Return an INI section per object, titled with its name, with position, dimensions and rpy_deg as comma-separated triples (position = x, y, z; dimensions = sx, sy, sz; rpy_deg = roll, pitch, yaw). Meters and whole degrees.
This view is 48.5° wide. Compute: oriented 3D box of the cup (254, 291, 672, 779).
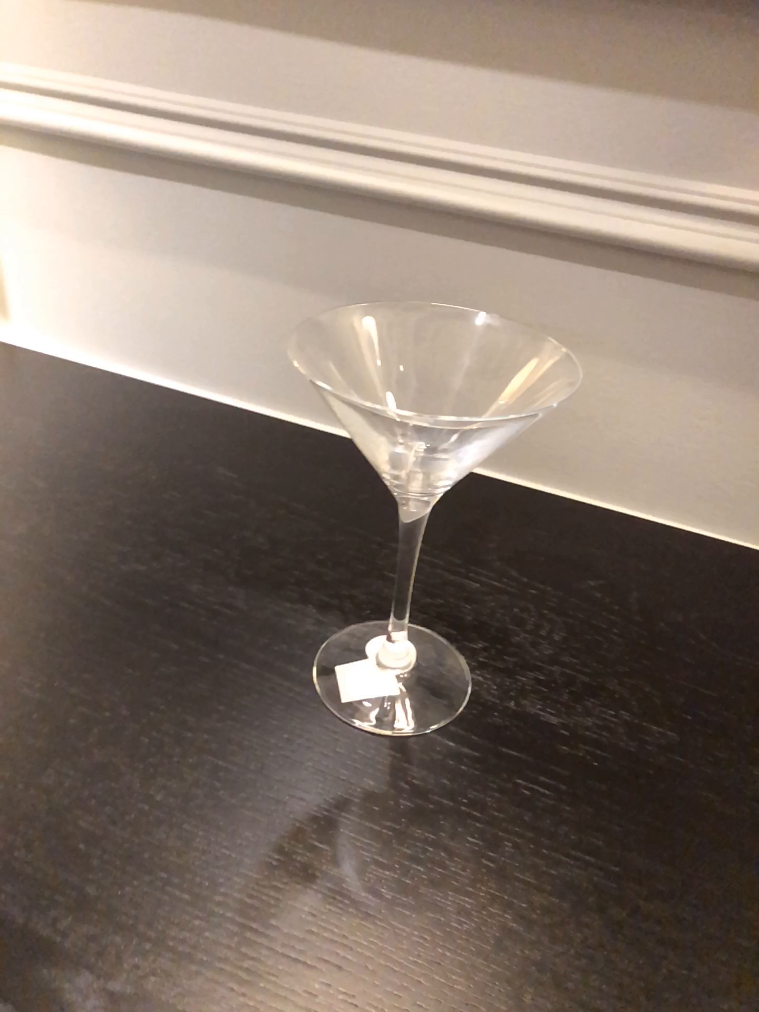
[cup]
position = 0.022, 0.004, 0.386
dimensions = 0.120, 0.159, 0.130
rpy_deg = 4, 32, -3
